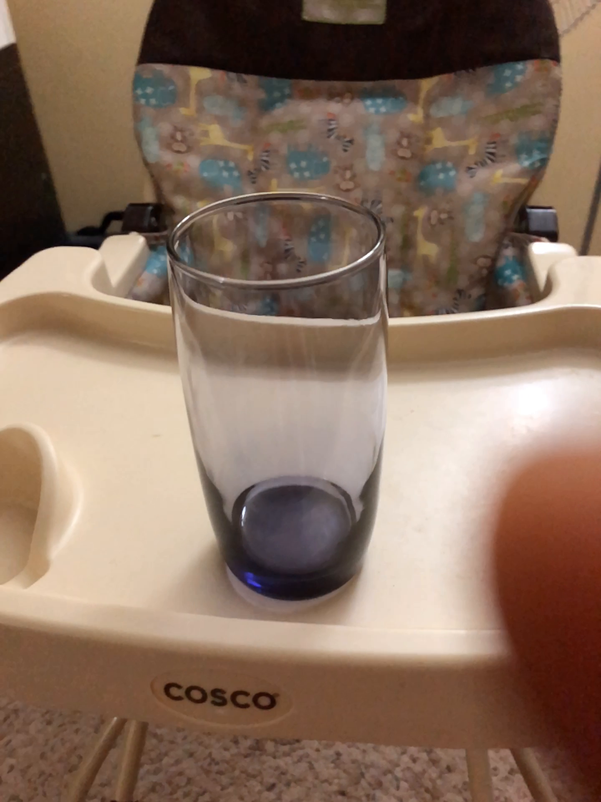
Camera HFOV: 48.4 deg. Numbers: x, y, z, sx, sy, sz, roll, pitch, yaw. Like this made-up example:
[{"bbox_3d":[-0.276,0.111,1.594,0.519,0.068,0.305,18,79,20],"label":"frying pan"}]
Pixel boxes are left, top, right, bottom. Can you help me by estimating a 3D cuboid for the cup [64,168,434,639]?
[{"bbox_3d":[-0.009,-0.001,0.246,0.083,0.134,0.085,-2,38,2],"label":"cup"}]
